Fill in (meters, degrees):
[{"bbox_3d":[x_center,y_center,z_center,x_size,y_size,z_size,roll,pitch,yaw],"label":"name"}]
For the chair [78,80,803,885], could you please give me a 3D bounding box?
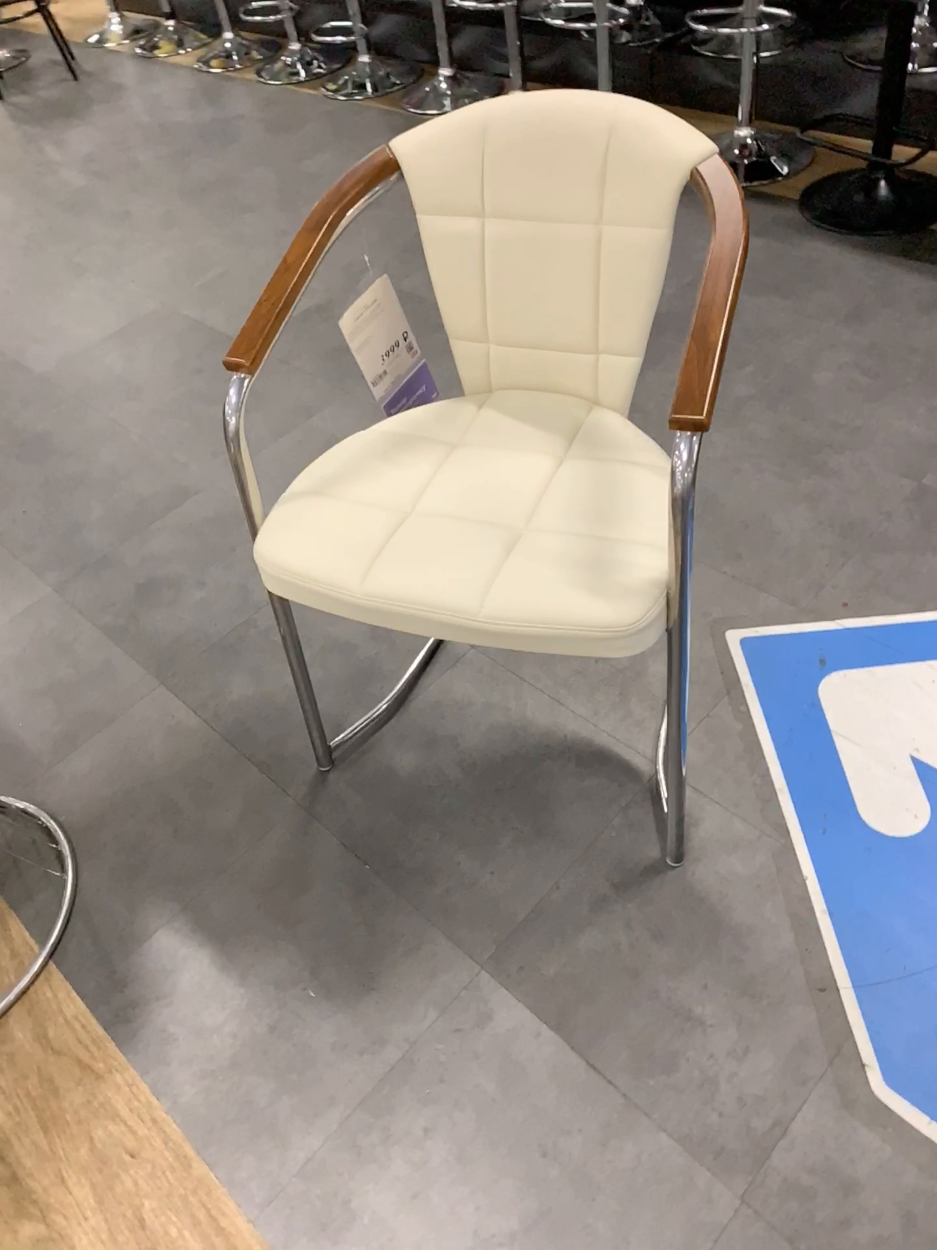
[{"bbox_3d":[0.059,-0.184,1.312,0.600,0.816,0.603,10,50,20],"label":"chair"}]
